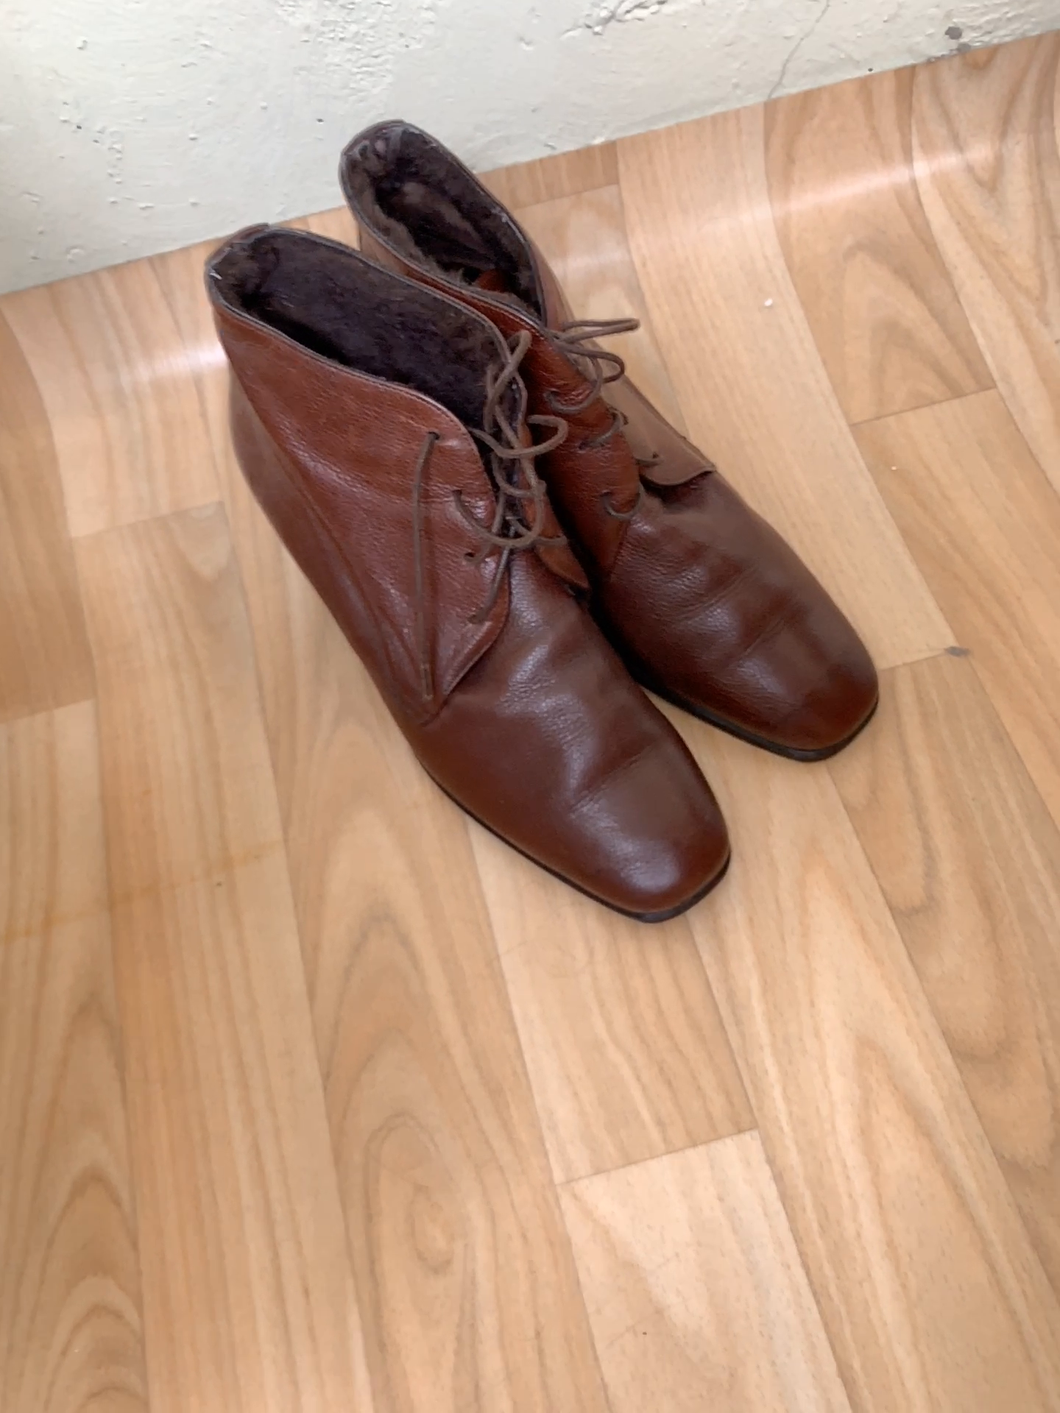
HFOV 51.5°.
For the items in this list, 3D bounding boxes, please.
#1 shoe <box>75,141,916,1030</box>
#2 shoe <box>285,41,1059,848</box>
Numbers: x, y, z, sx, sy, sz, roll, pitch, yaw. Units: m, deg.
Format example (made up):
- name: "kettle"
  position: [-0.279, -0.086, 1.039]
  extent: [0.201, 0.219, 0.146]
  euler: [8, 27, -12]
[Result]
- name: "shoe"
  position: [-0.015, -0.029, 0.327]
  extent: [0.080, 0.150, 0.220]
  euler: [-38, 67, -12]
- name: "shoe"
  position: [0.039, -0.079, 0.357]
  extent: [0.080, 0.150, 0.220]
  euler: [-42, 68, -14]
